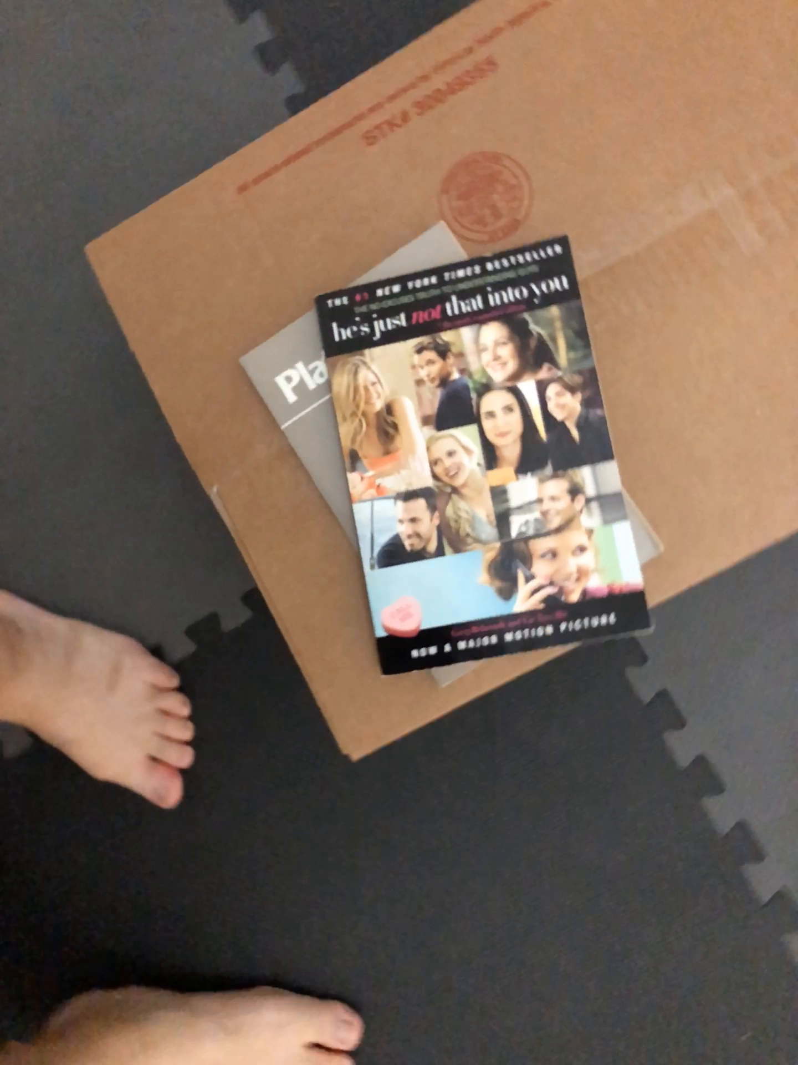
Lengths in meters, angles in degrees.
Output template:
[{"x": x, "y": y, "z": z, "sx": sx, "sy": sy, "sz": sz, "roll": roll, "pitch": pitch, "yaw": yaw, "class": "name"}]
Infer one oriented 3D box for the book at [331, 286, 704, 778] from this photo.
[{"x": 0.058, "y": 0.000, "z": 0.464, "sx": 0.150, "sy": 0.010, "sz": 0.230, "roll": -11, "pitch": 85, "yaw": 9, "class": "book"}]
